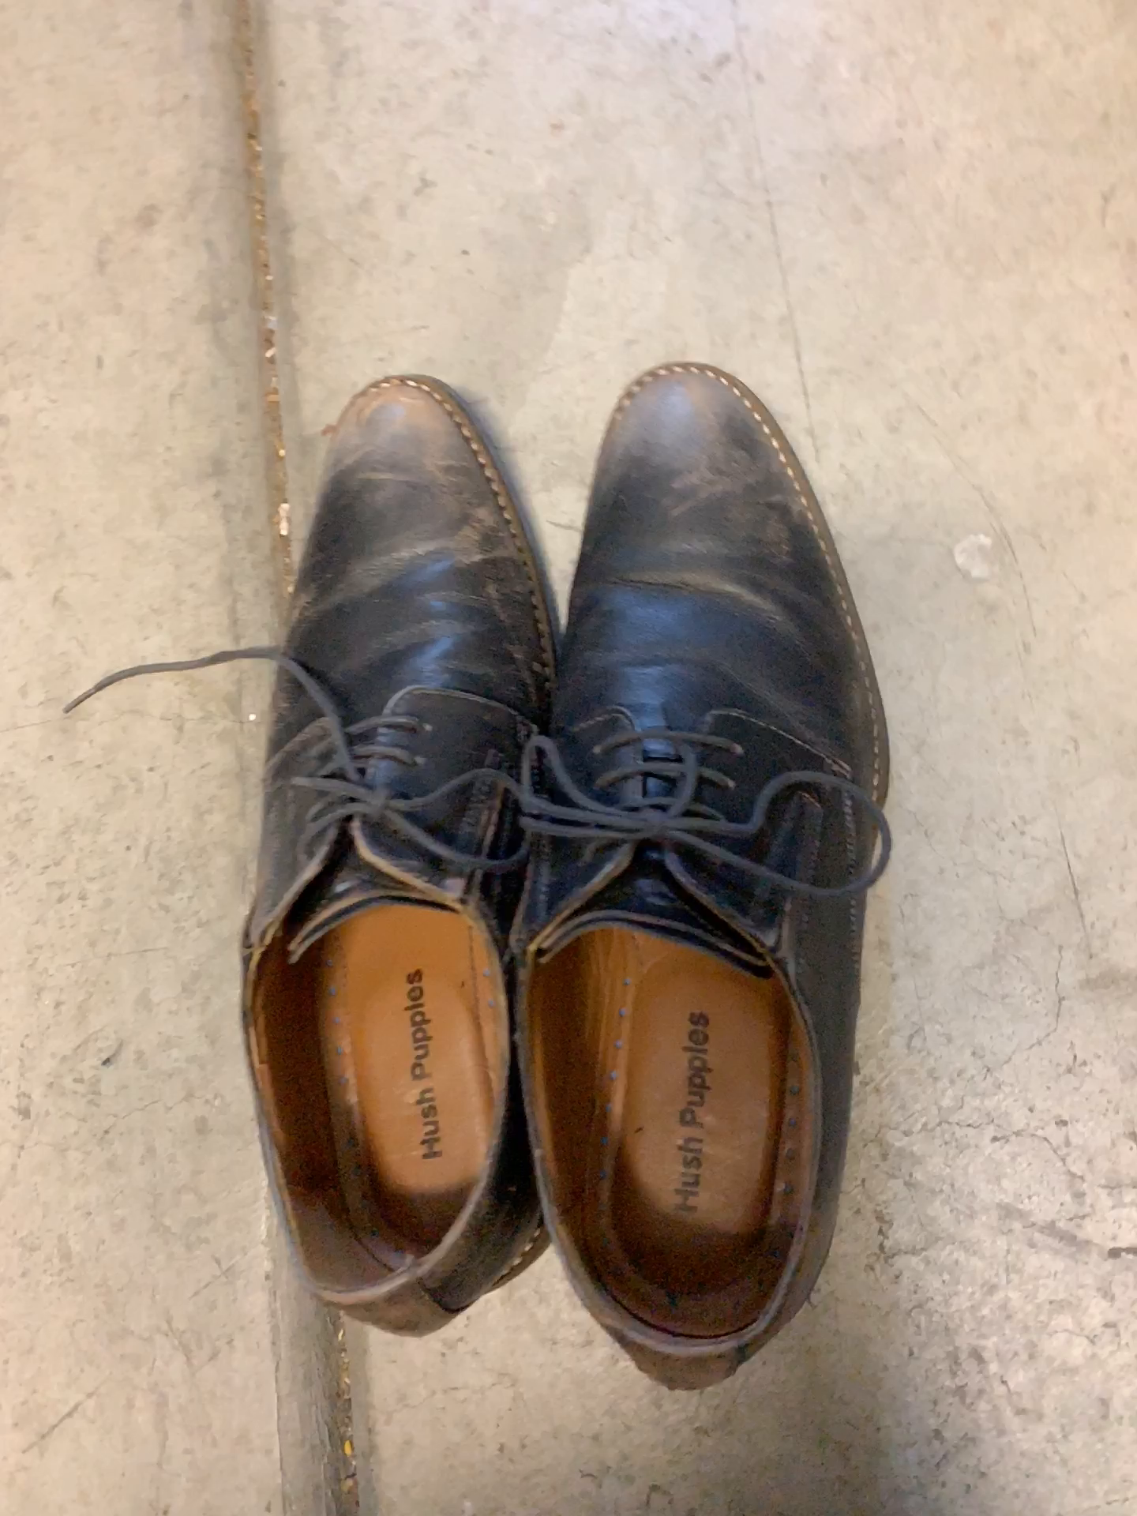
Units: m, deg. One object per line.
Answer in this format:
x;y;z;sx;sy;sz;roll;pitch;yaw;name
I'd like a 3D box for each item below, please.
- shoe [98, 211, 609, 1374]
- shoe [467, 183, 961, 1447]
-0.062;0.009;0.378;0.110;0.120;0.310;-6;79;13;shoe
0.042;0.012;0.349;0.110;0.120;0.304;-4;79;14;shoe
